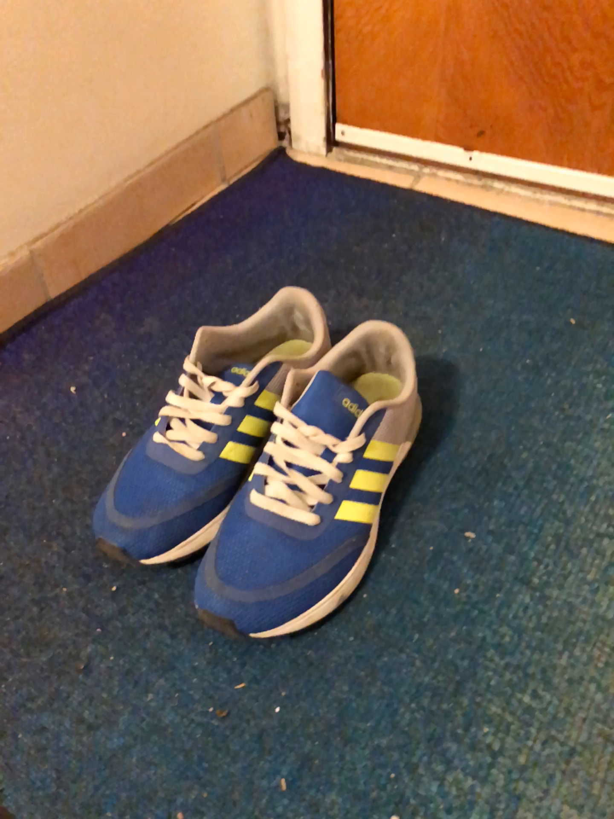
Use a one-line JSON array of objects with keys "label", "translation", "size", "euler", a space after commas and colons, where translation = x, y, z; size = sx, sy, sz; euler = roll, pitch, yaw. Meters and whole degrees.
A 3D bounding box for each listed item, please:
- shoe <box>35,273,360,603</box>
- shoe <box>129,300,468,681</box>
[{"label": "shoe", "translation": [-0.068, 0.006, 0.546], "size": [0.110, 0.089, 0.261], "euler": [22, 49, 24]}, {"label": "shoe", "translation": [0.010, 0.039, 0.492], "size": [0.110, 0.089, 0.261], "euler": [22, 49, 24]}]
